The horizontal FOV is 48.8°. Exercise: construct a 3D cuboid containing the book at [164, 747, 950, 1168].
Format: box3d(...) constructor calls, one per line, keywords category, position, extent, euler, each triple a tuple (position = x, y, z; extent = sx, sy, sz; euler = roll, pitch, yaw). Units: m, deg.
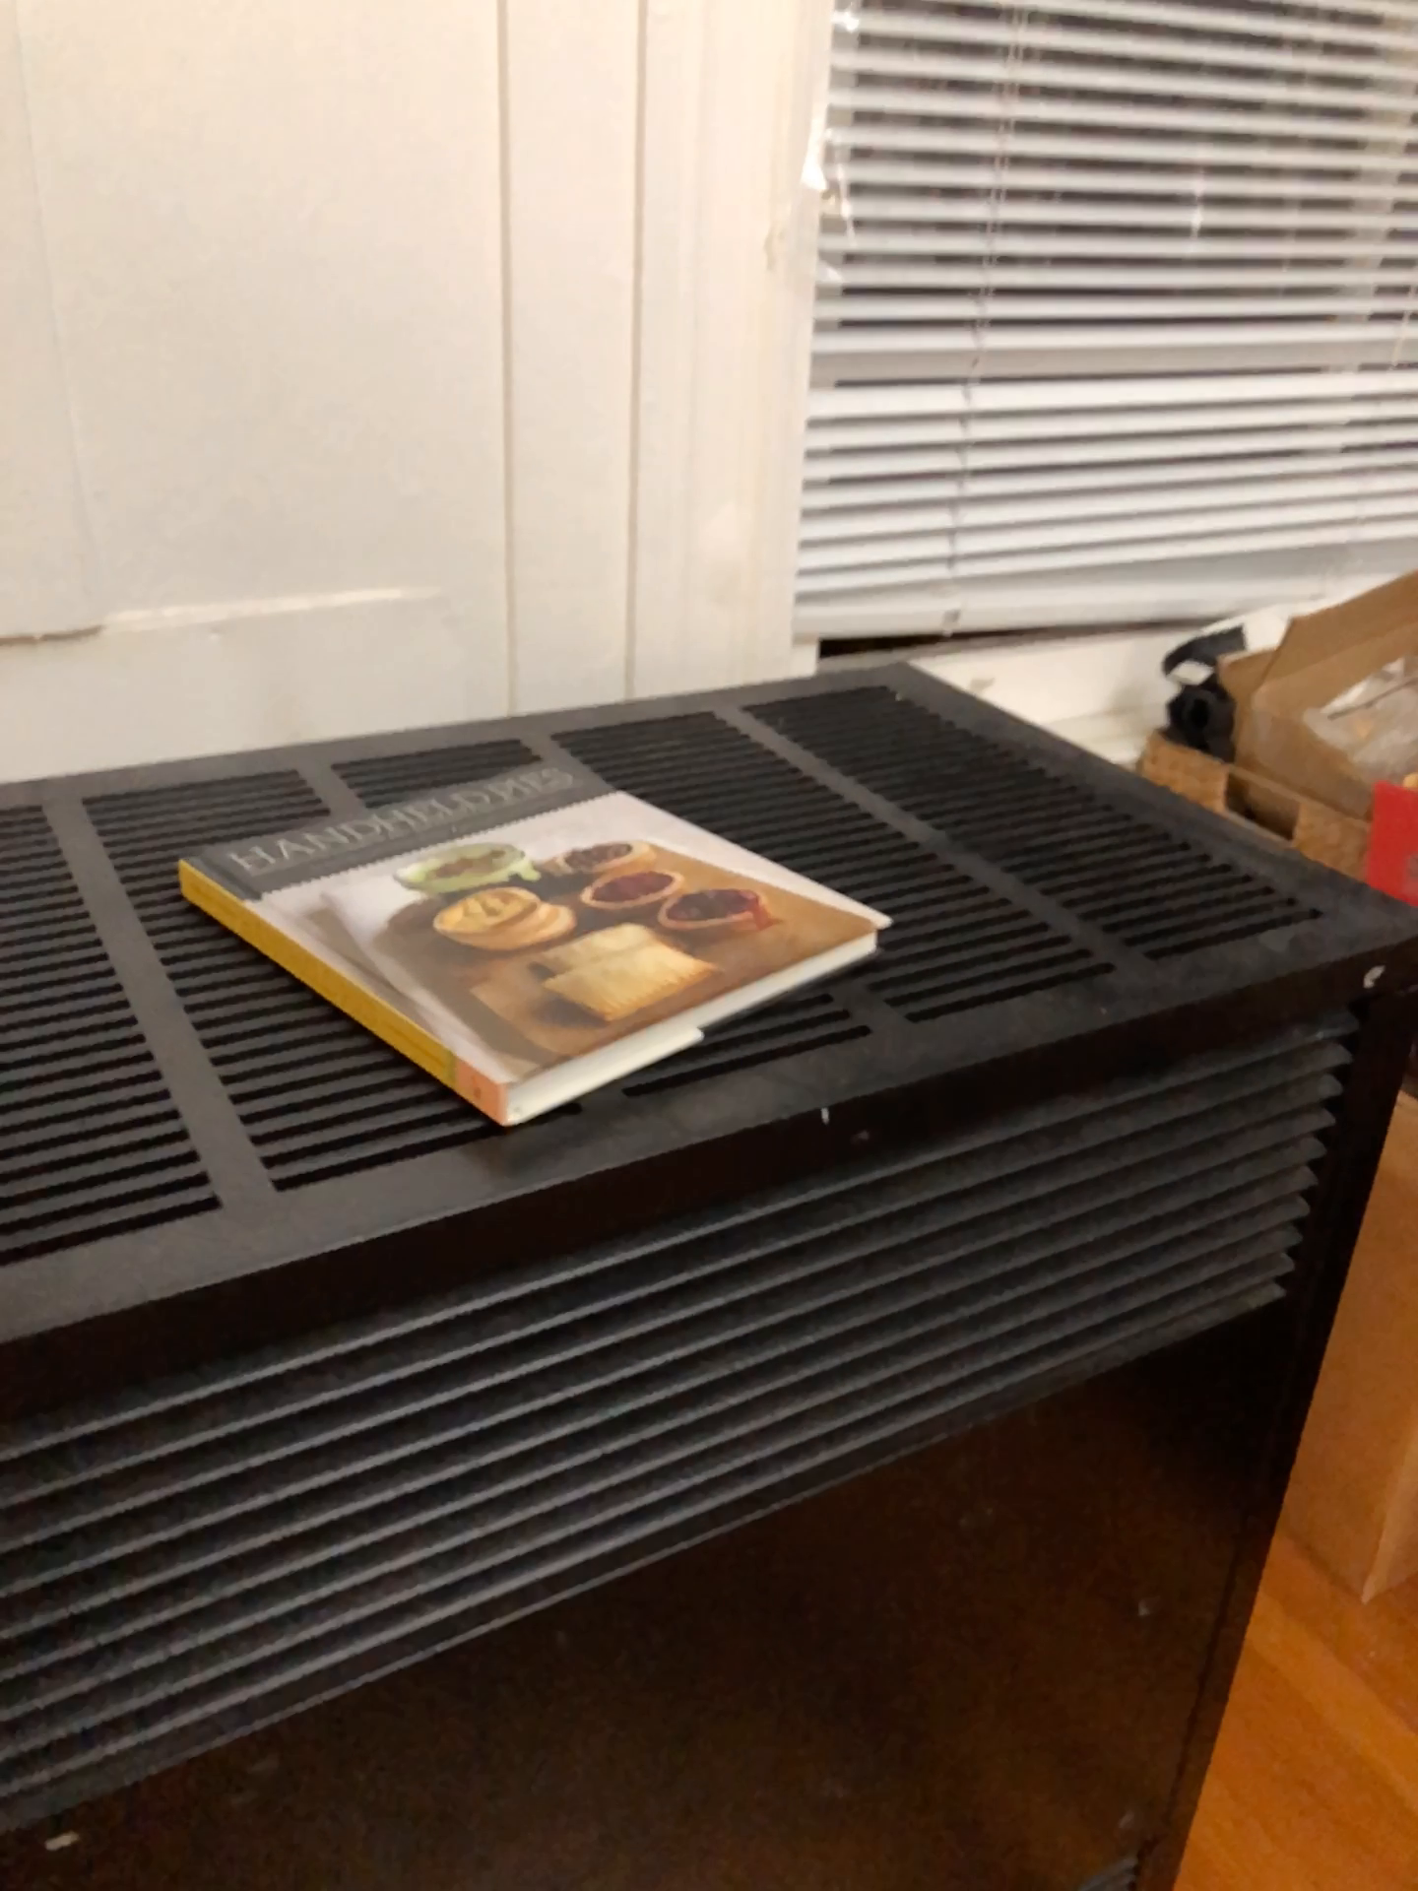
box3d(category="book", position=(-0.061, -0.013, 0.604), extent=(0.201, 0.020, 0.231), euler=(-23, 36, -38))
